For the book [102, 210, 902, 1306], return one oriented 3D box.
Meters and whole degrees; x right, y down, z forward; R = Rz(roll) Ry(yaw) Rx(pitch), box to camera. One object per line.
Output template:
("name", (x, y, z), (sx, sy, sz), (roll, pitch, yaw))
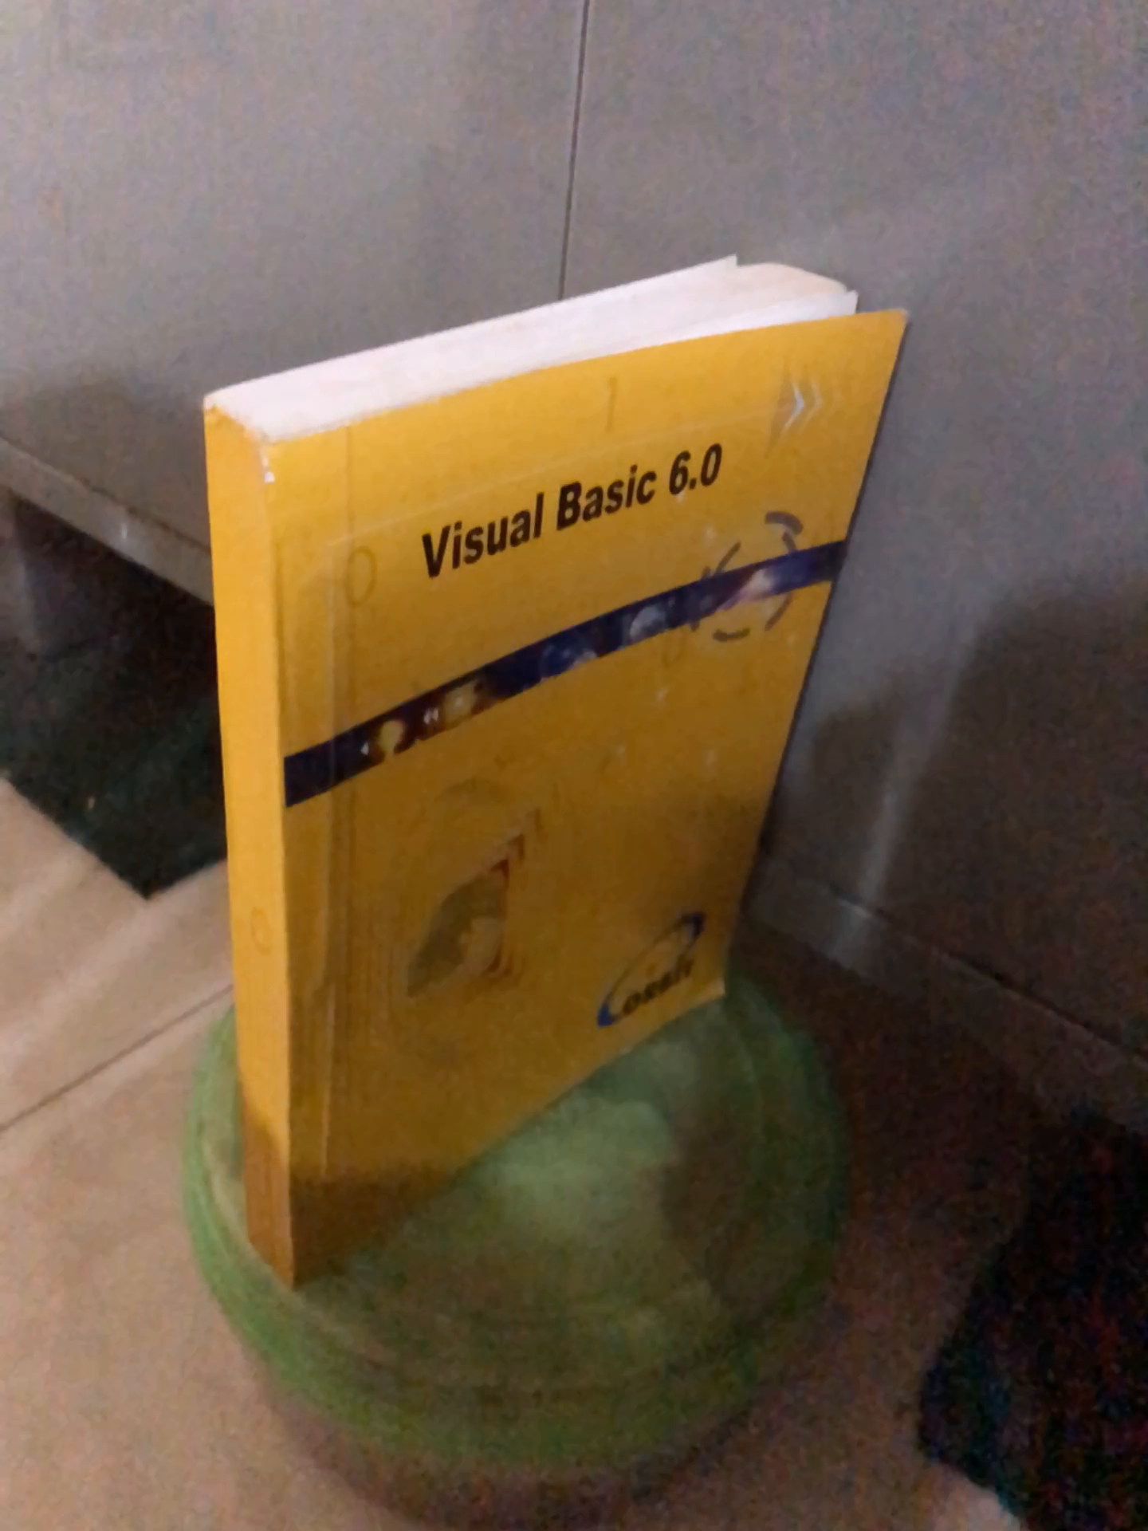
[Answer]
("book", (-0.012, -0.001, 0.381), (0.040, 0.278, 0.221), (33, 43, 31))
